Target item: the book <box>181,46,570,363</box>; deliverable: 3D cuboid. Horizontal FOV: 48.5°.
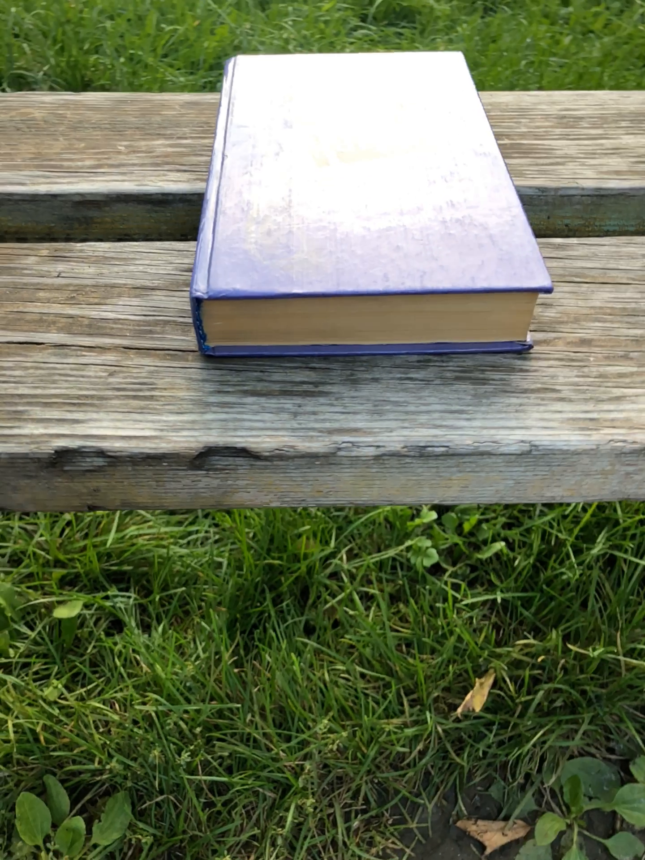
[{"bbox_3d":[0.015,-0.113,0.318,0.130,0.030,0.205,-2,49,-1],"label":"book"}]
